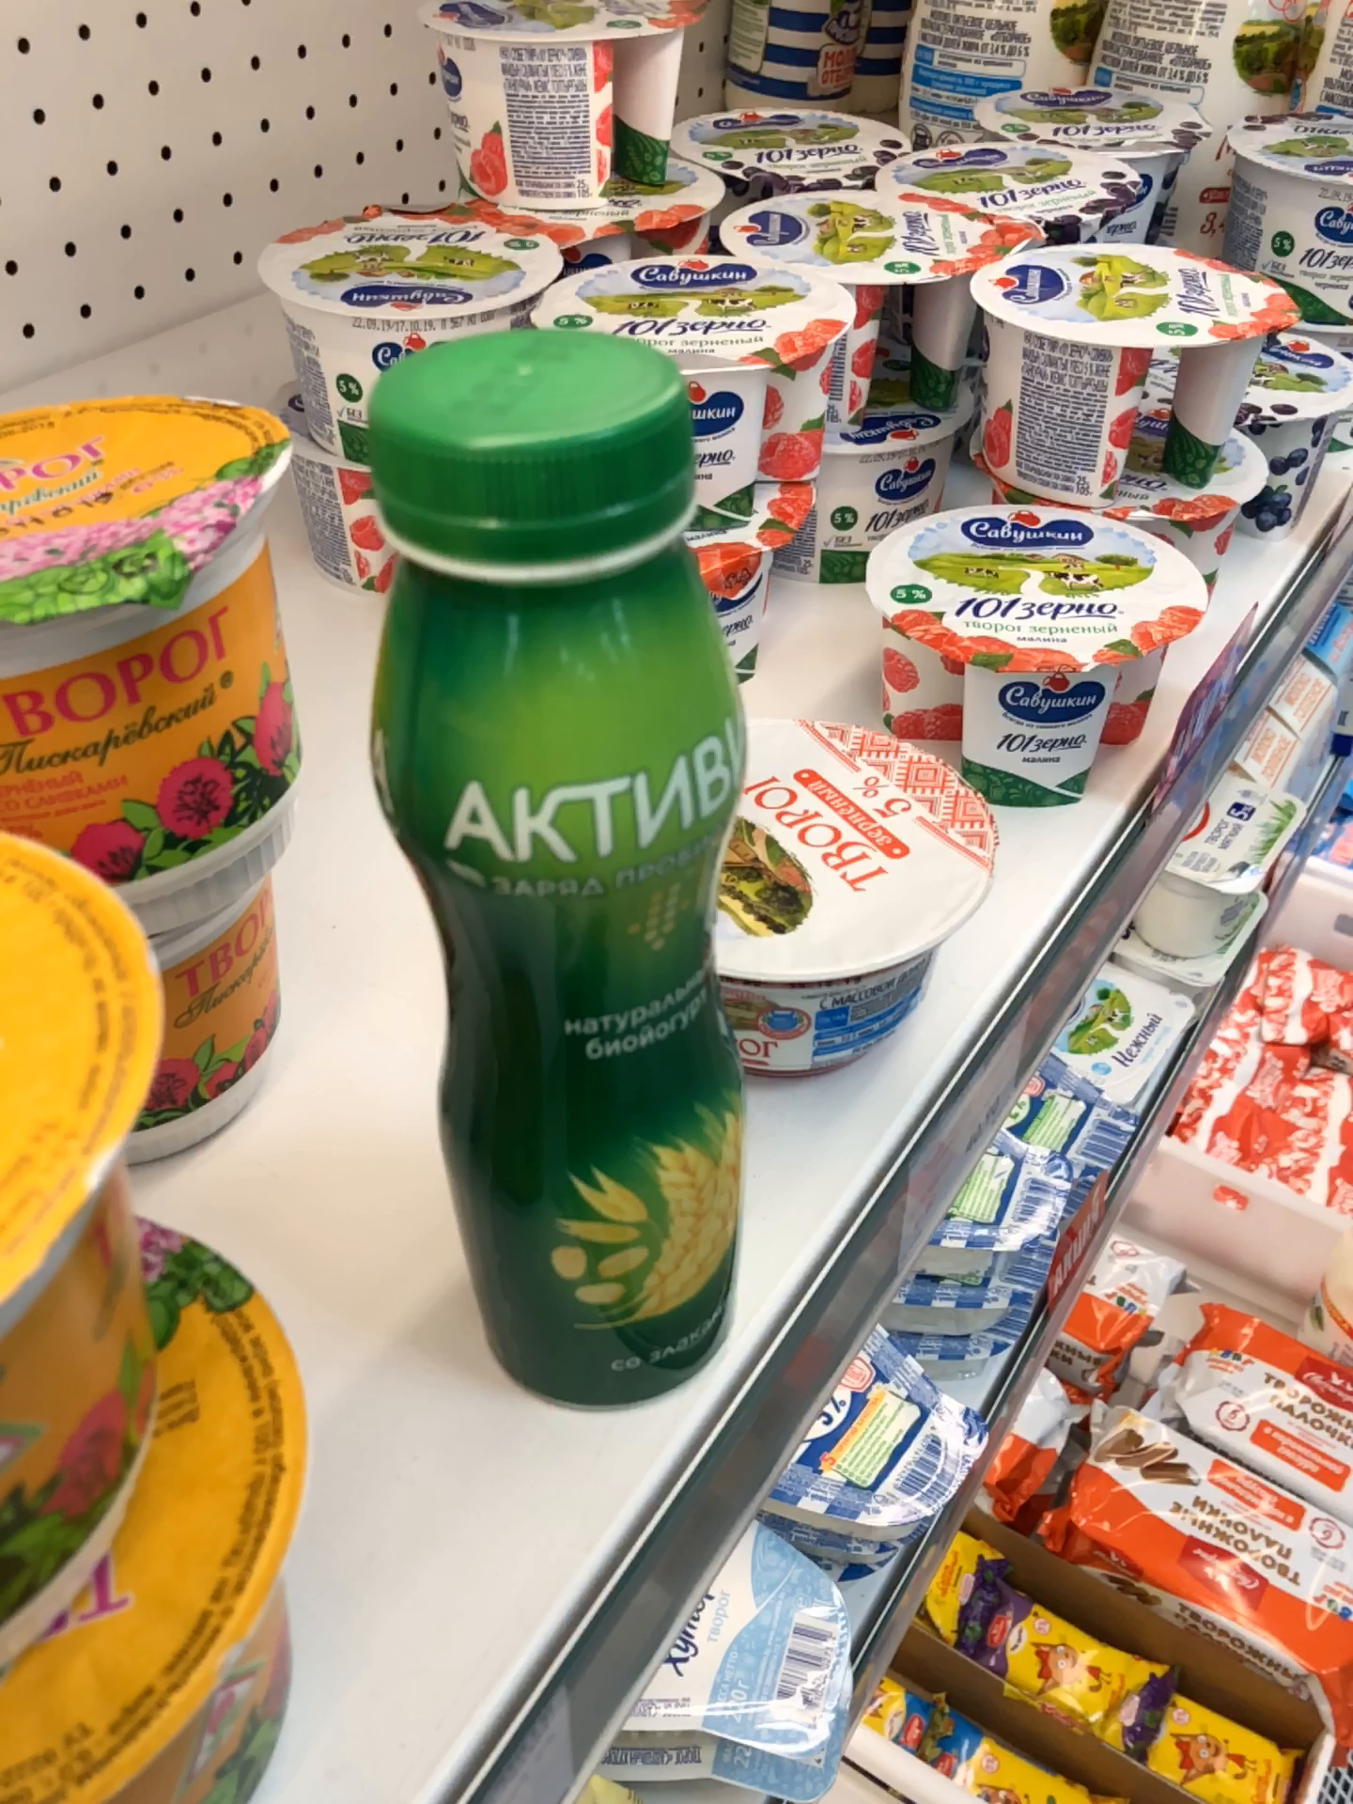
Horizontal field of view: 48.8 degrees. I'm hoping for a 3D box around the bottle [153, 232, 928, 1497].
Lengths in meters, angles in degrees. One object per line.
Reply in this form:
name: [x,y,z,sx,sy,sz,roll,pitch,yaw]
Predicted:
bottle: [-0.016,0.004,0.237,0.070,0.183,0.060,-30,49,-31]
